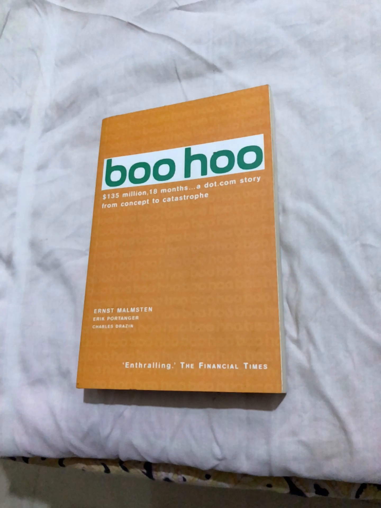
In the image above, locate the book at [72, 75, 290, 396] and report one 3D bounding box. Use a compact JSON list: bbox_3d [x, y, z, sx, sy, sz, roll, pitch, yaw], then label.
[{"bbox_3d":[-0.006,-0.010,0.292,0.130,0.040,0.200,-5,73,21],"label":"book"}]
